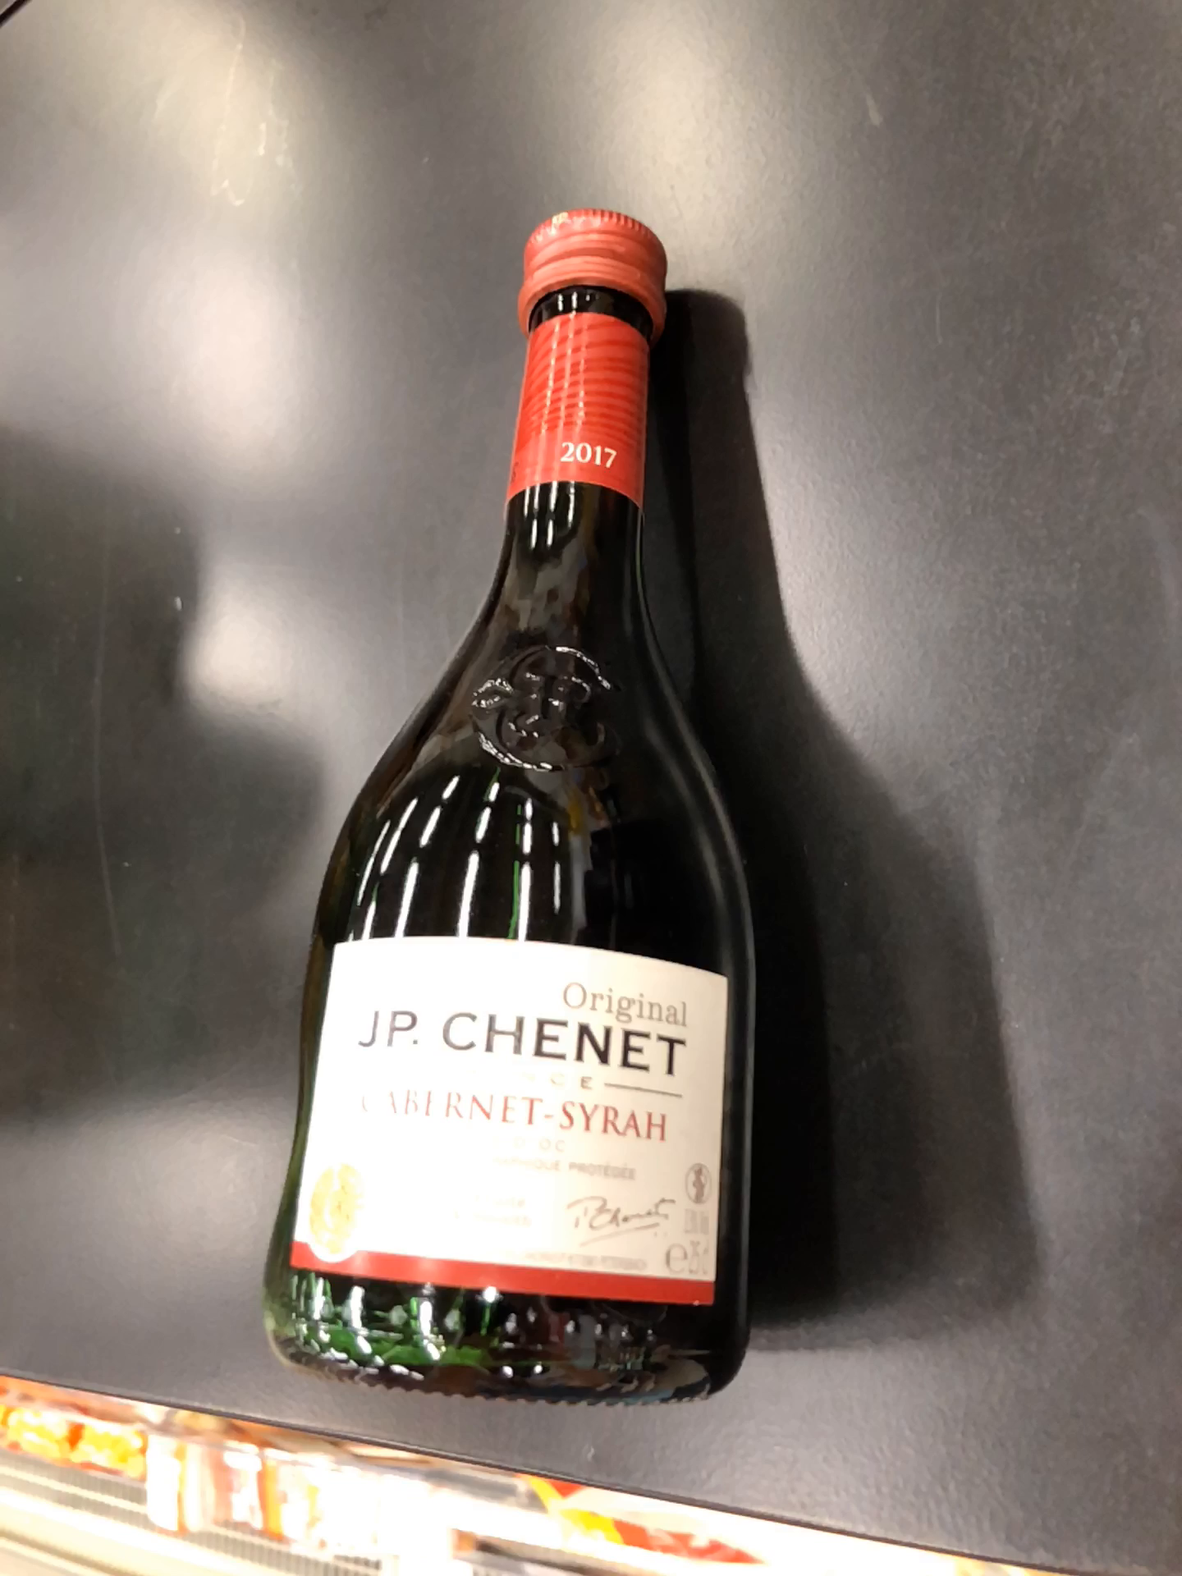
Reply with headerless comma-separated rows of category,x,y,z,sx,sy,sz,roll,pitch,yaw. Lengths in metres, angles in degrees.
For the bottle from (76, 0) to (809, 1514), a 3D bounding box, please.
bottle,-0.015,-0.018,0.193,0.070,0.060,0.200,-9,71,36
